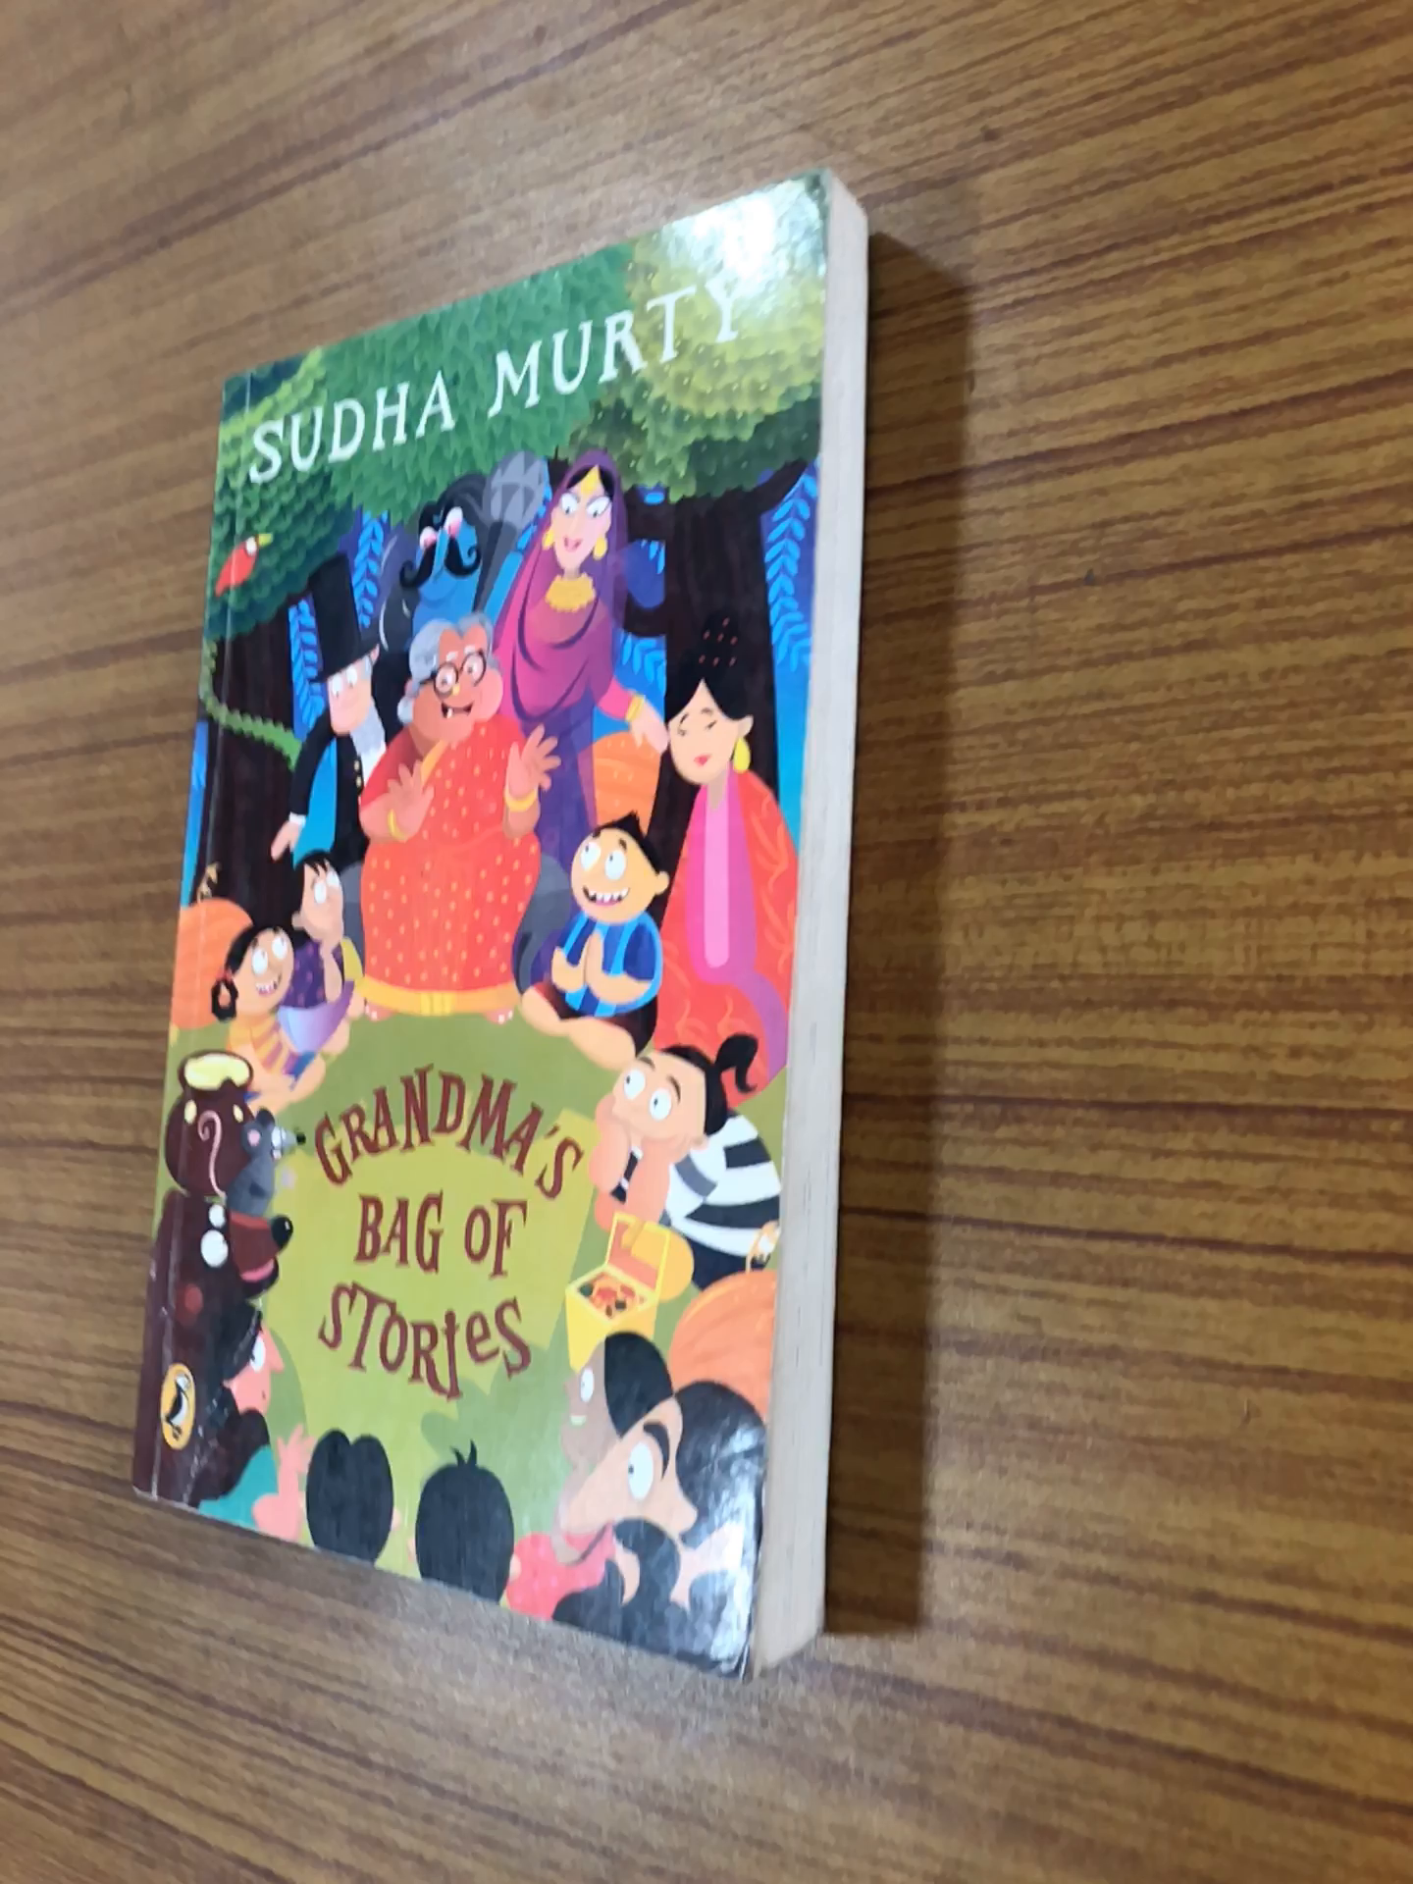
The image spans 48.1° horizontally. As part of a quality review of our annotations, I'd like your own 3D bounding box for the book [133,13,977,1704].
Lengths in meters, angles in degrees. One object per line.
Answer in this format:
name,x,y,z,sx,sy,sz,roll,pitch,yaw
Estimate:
book,-0.027,-0.013,0.244,0.131,0.030,0.210,-2,82,35
